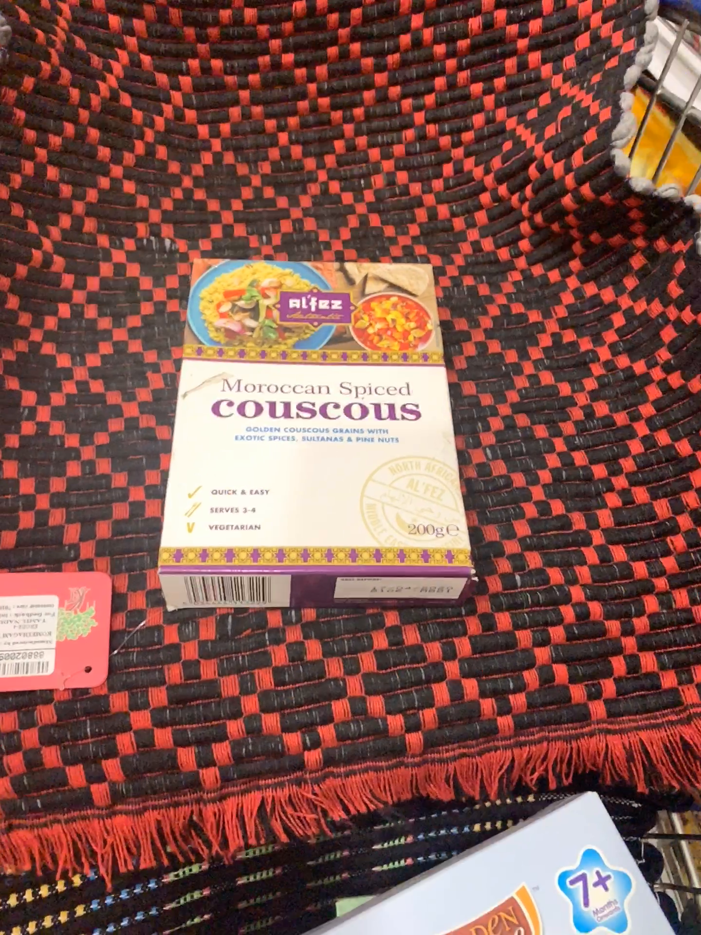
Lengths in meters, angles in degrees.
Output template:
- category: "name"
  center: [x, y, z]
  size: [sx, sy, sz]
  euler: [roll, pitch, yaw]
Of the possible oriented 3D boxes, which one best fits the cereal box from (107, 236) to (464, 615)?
- category: "cereal box"
  center: [-0.026, -0.024, 0.308]
  size: [0.120, 0.050, 0.160]
  euler: [0, 57, -4]
